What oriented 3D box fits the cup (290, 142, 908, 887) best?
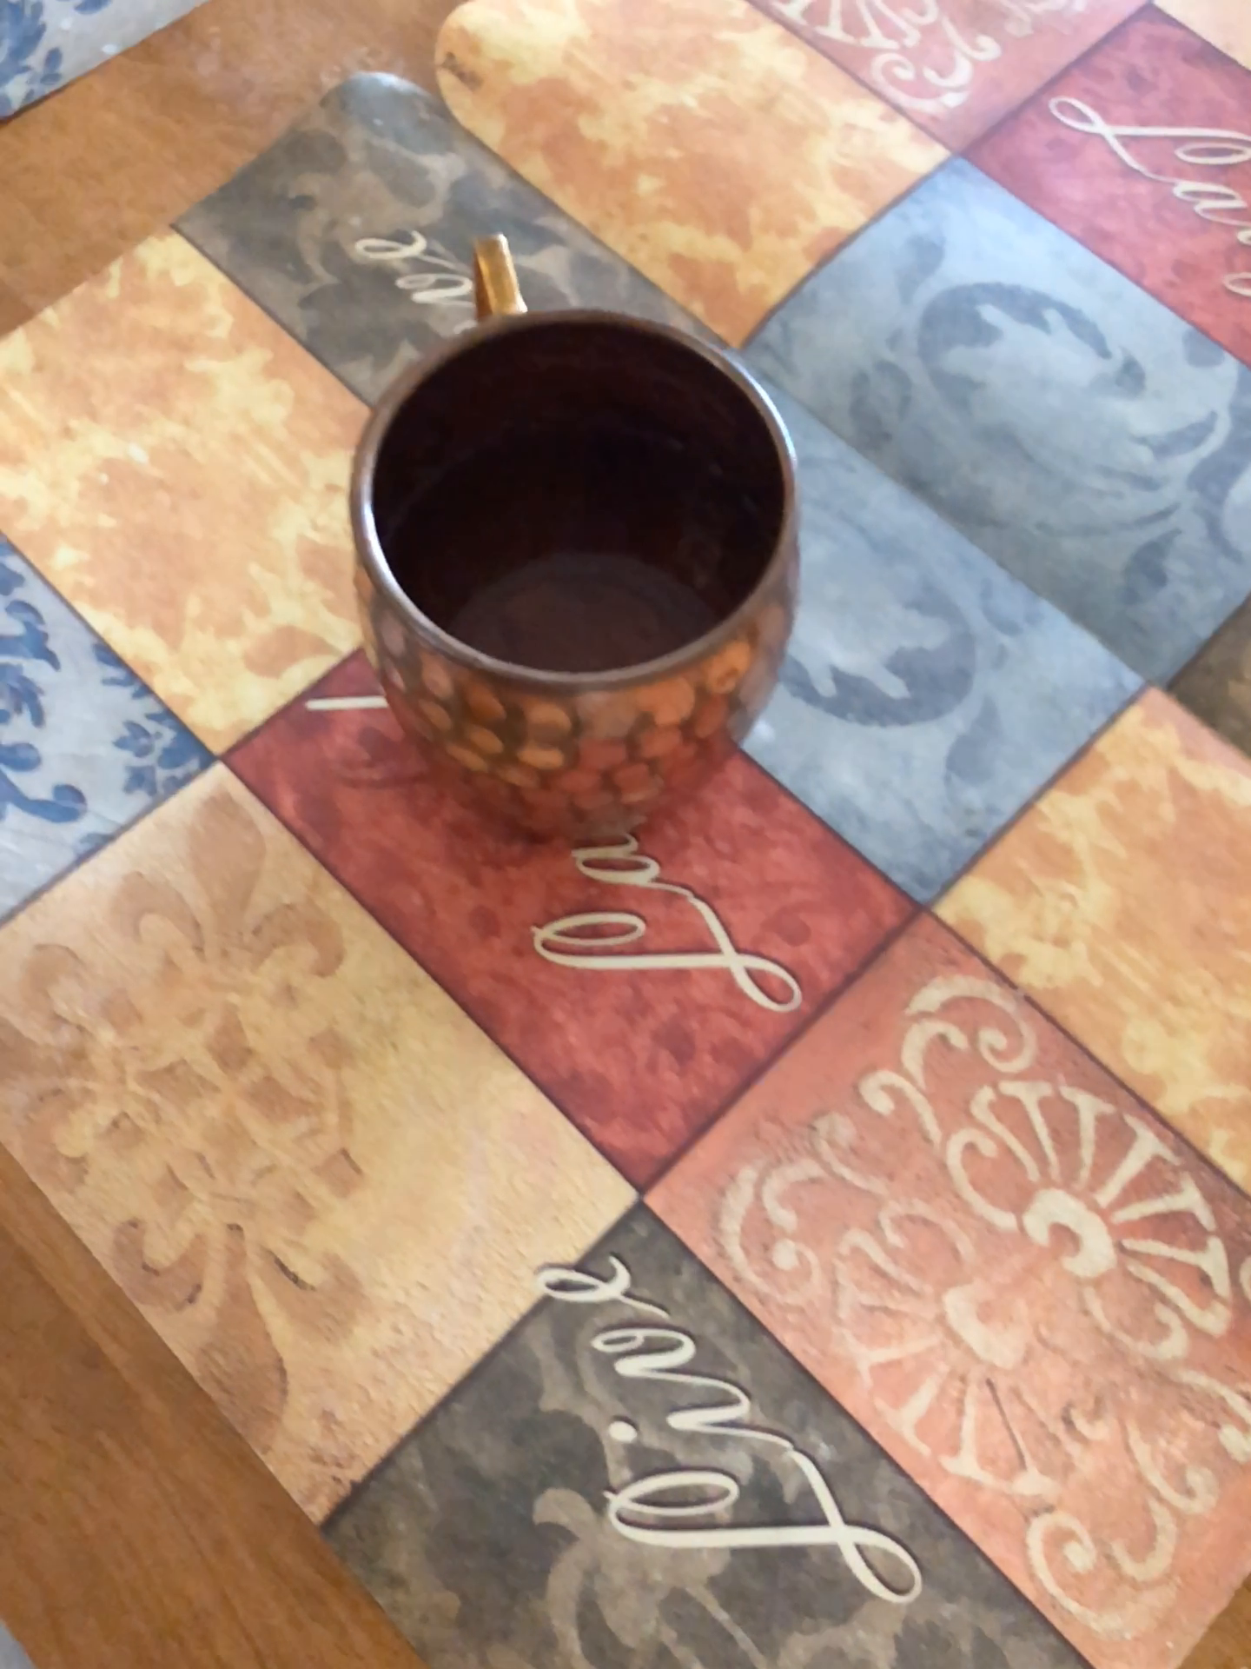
[{"bbox_3d":[-0.010,-0.067,0.313,0.100,0.090,0.120,-10,69,-5],"label":"cup"}]
